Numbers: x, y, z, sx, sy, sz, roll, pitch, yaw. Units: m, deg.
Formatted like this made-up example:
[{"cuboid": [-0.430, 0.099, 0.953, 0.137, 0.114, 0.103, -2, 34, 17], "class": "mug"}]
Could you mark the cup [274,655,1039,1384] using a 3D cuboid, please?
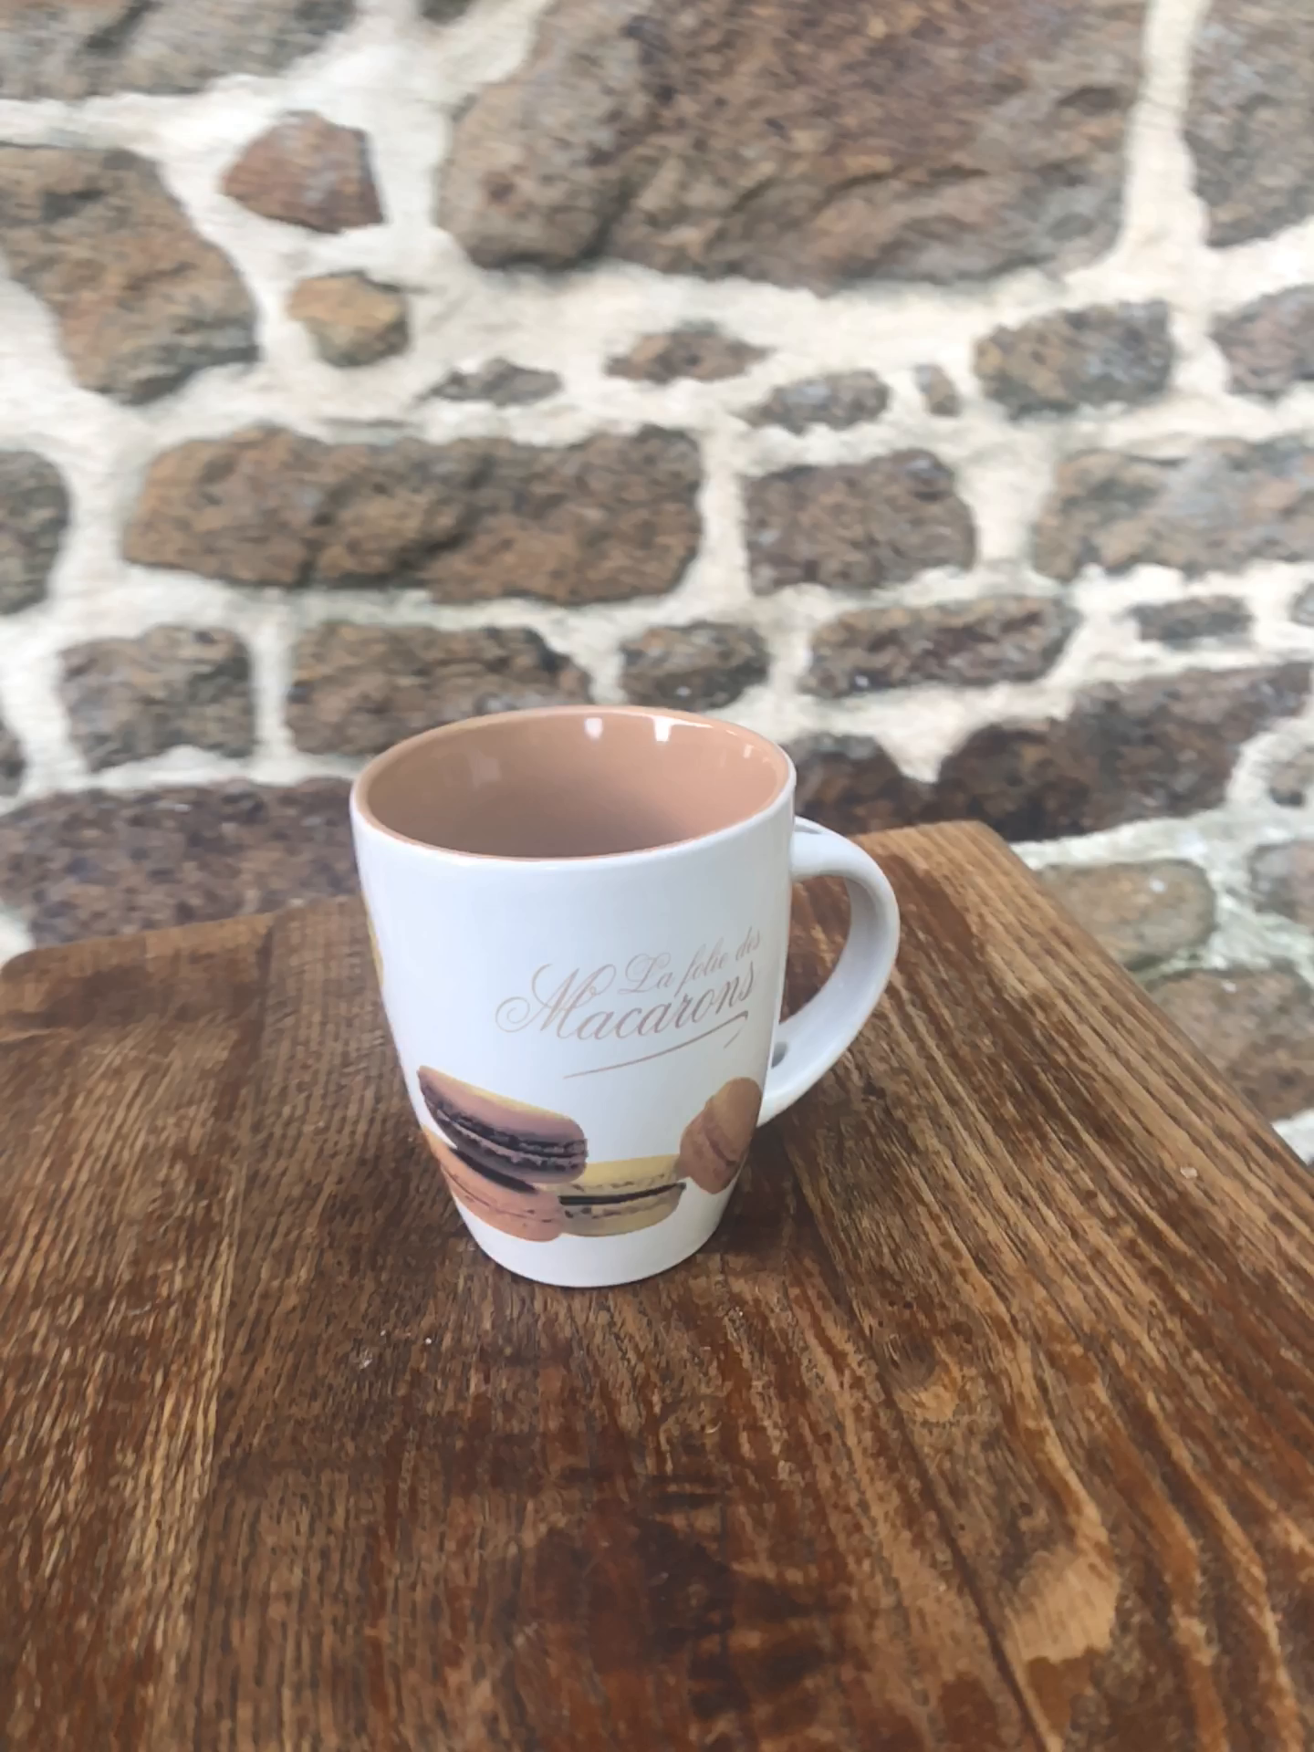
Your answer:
[{"cuboid": [-0.002, 0.020, 0.307, 0.124, 0.090, 0.094, -15, 28, -21], "class": "cup"}]
